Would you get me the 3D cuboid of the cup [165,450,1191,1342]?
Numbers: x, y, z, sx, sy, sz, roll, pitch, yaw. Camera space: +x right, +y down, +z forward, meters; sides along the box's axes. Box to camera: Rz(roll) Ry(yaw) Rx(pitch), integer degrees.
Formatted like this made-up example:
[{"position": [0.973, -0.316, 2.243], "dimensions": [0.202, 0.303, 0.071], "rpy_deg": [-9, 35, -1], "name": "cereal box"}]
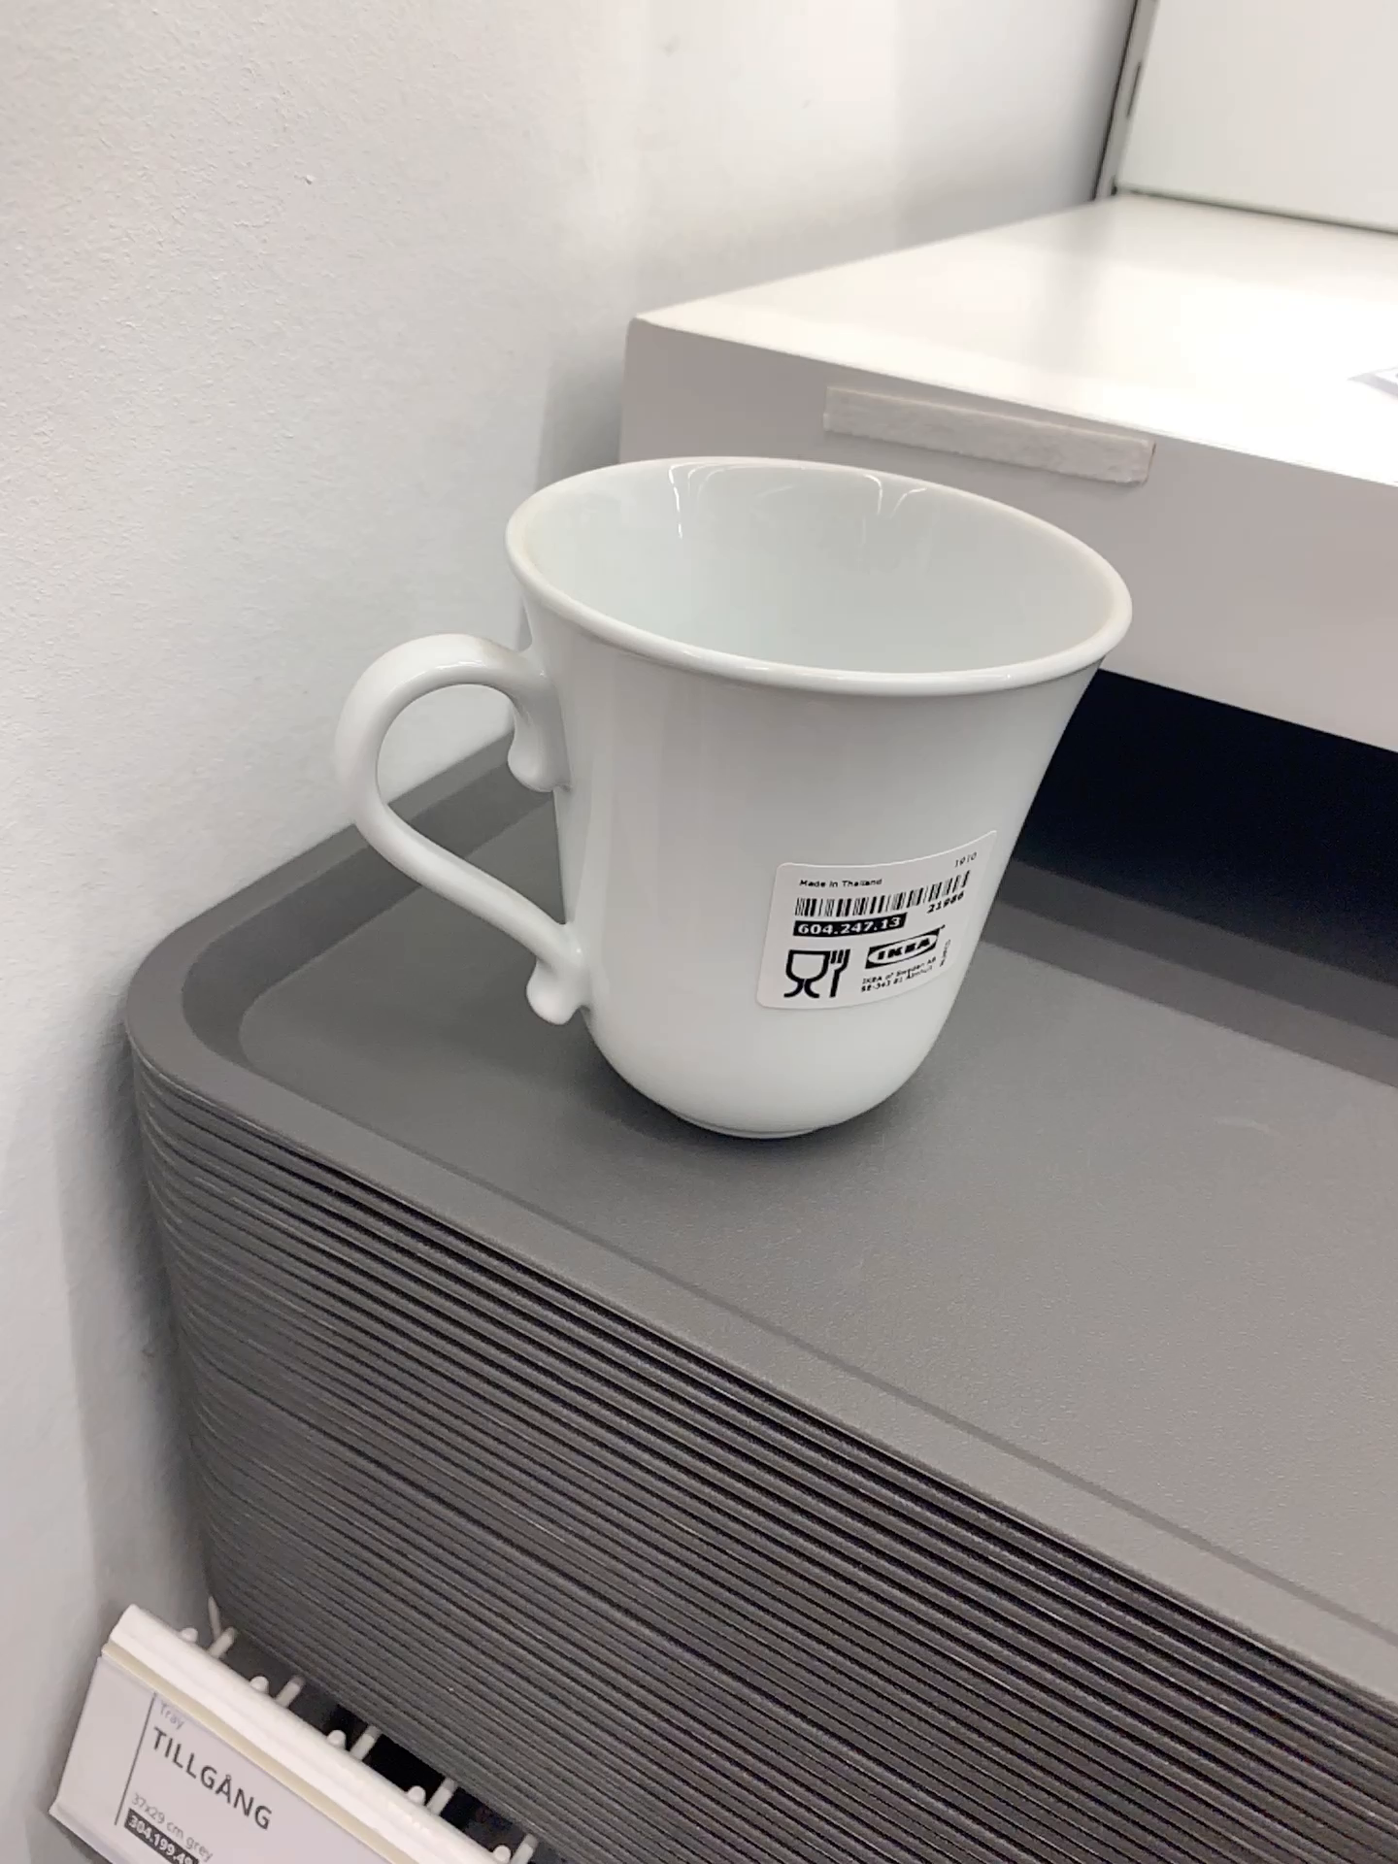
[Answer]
[{"position": [-0.011, -0.018, 0.253], "dimensions": [0.130, 0.100, 0.100], "rpy_deg": [-11, 35, -26], "name": "cup"}]
